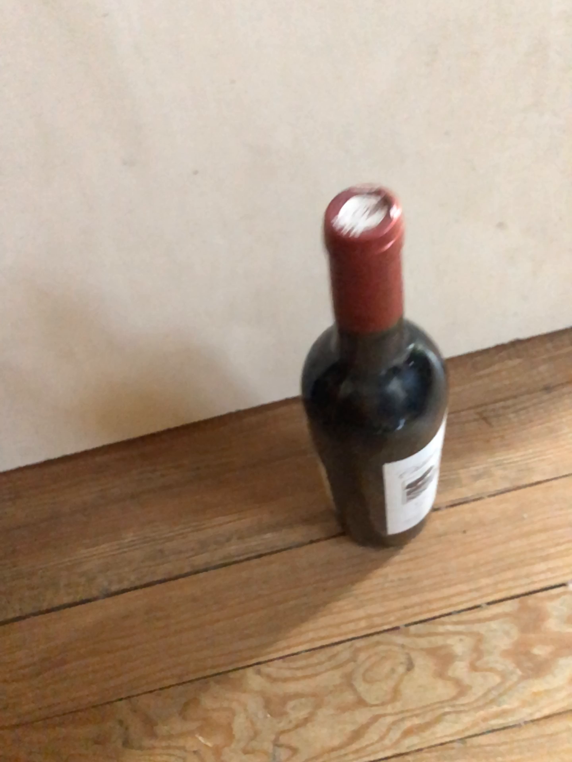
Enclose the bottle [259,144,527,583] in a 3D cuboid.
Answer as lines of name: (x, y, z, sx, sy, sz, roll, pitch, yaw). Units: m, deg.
bottle: (0.056, 0.024, 0.333, 0.070, 0.289, 0.080, 13, 63, 15)
